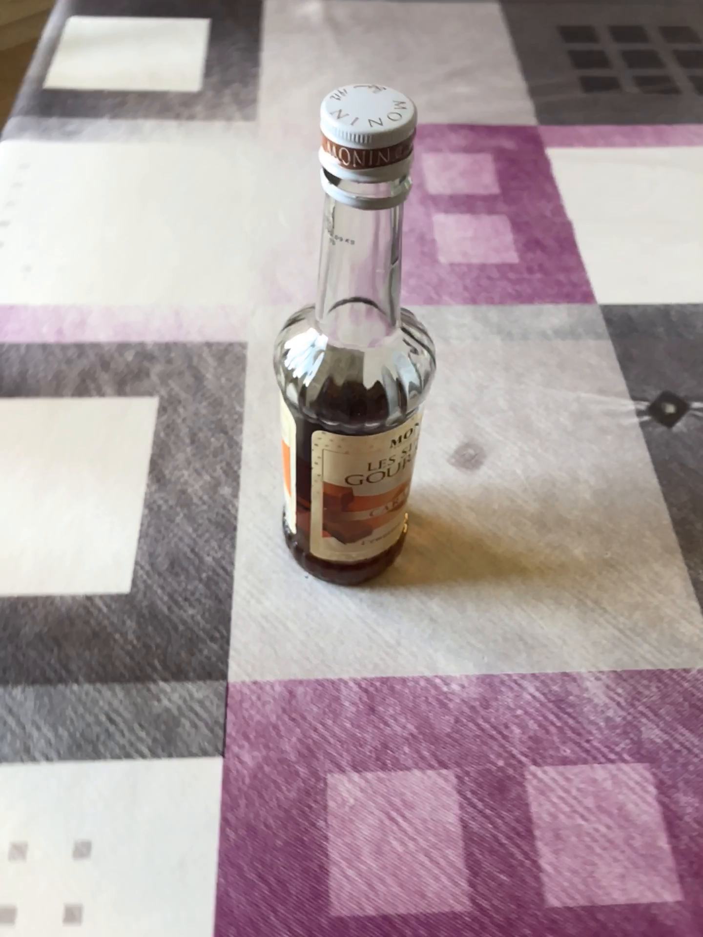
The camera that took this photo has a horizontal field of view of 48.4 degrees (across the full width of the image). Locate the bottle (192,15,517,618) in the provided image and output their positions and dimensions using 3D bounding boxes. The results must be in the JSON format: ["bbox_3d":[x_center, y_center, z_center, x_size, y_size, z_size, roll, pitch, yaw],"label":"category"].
[{"bbox_3d":[0.001,-0.034,0.314,0.070,0.239,0.070,1,54,-1],"label":"bottle"}]
